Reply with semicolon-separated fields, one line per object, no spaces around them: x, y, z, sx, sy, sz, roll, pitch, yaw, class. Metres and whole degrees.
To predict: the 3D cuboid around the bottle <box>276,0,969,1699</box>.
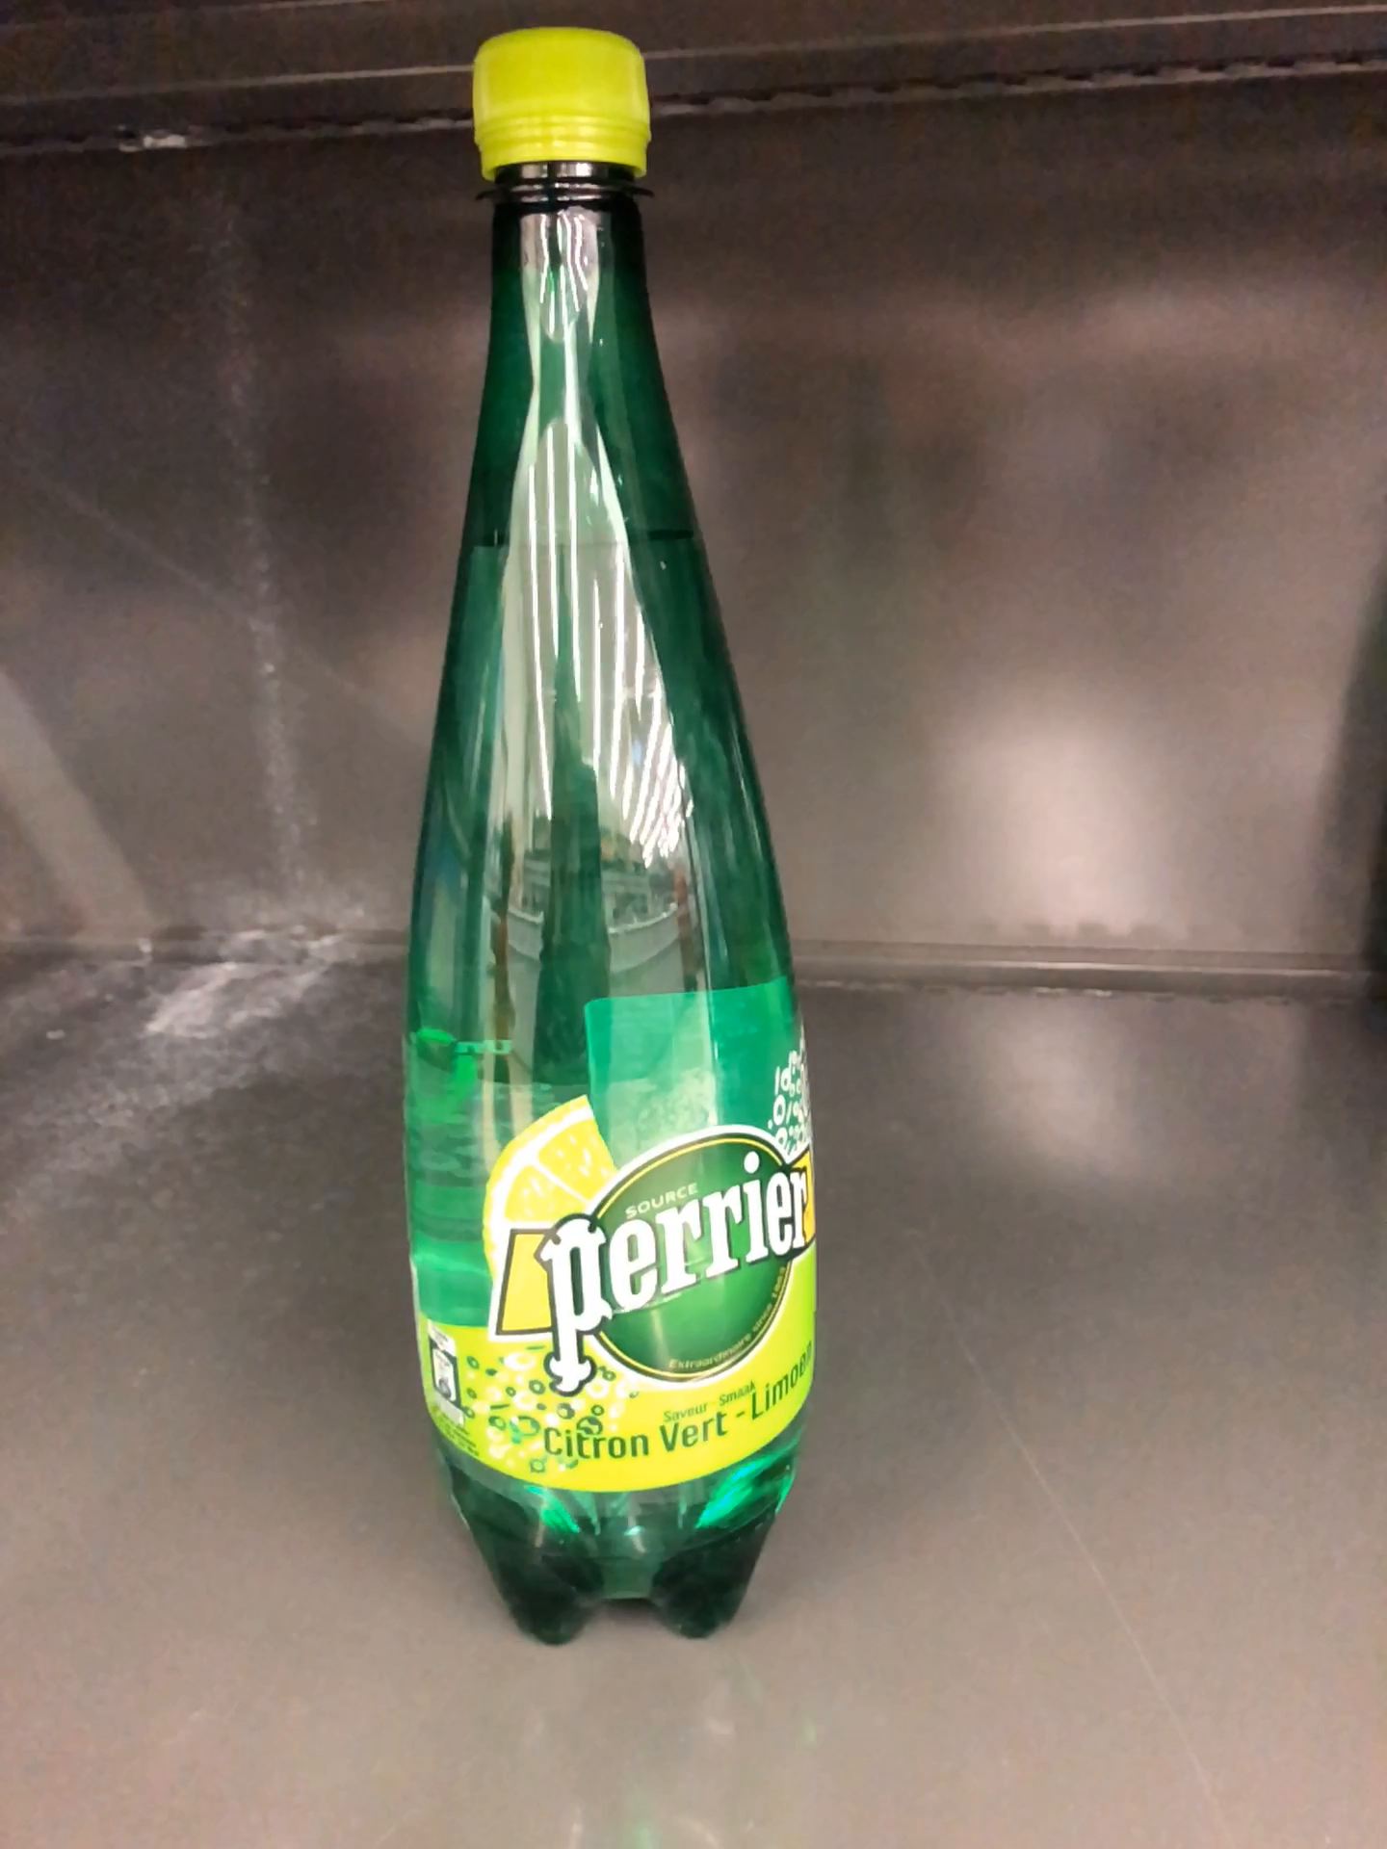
-0.014;-0.013;0.308;0.100;0.299;0.090;-7;17;-16;bottle
